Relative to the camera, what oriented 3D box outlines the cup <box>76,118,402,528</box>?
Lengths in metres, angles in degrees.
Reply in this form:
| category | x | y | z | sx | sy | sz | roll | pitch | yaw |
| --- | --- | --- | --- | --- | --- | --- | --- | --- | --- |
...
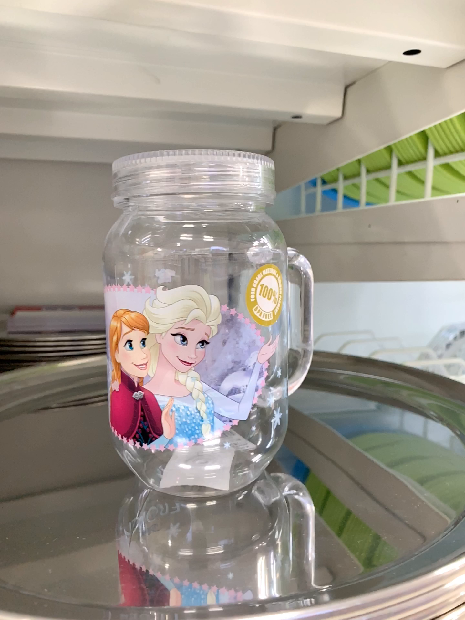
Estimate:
| category | x | y | z | sx | sy | sz | roll | pitch | yaw |
| --- | --- | --- | --- | --- | --- | --- | --- | --- | --- |
| cup | 0.004 | -0.001 | 0.214 | 0.120 | 0.130 | 0.070 | -4 | 7 | -32 |
